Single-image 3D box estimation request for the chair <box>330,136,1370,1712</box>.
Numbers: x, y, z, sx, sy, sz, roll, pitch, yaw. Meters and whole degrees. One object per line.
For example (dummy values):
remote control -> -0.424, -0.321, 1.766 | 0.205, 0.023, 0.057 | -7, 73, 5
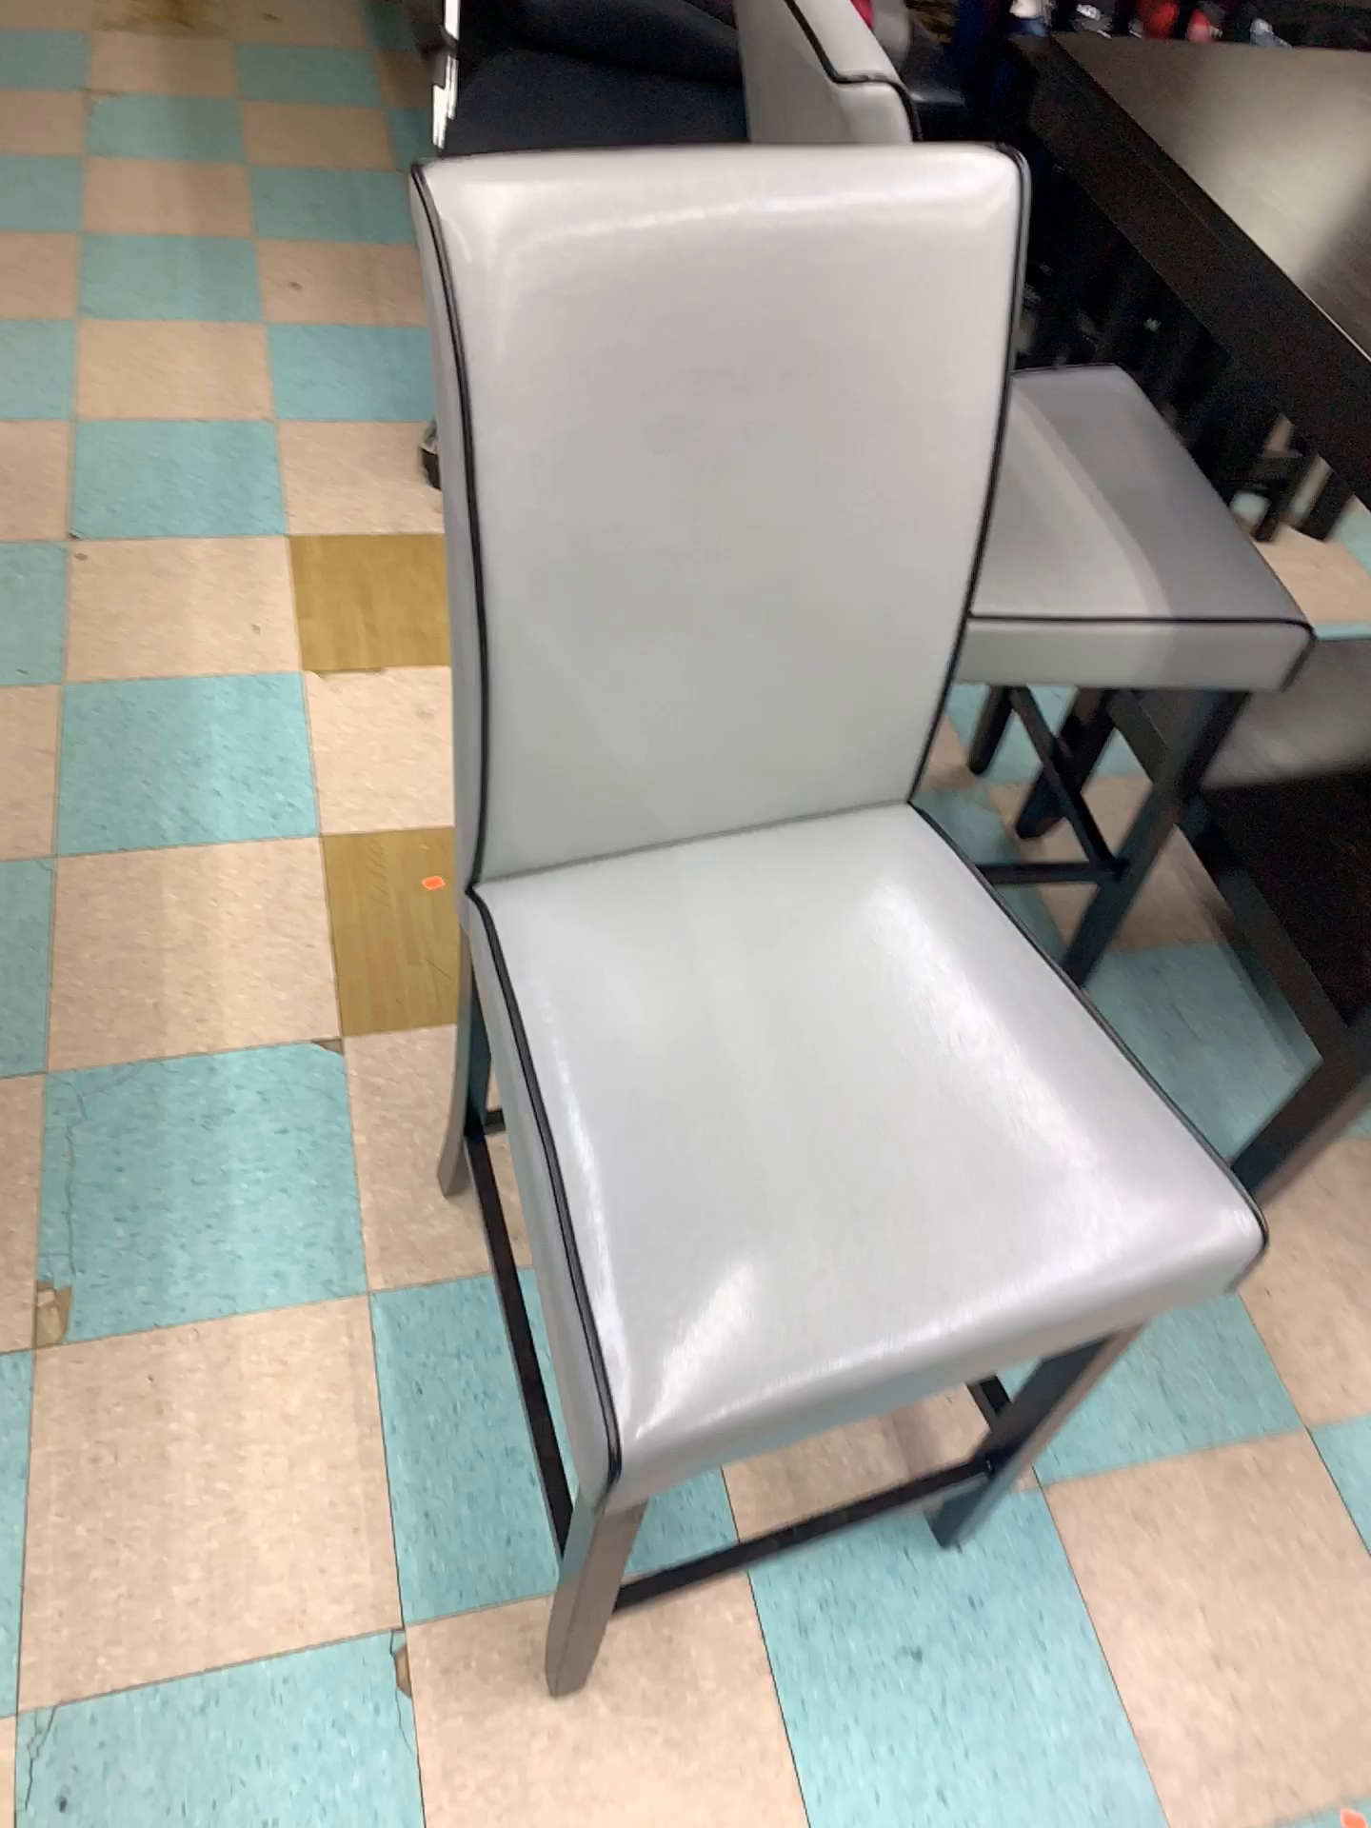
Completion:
chair -> 0.062, 0.078, 0.961 | 0.450, 0.931, 0.562 | -11, 54, -19
